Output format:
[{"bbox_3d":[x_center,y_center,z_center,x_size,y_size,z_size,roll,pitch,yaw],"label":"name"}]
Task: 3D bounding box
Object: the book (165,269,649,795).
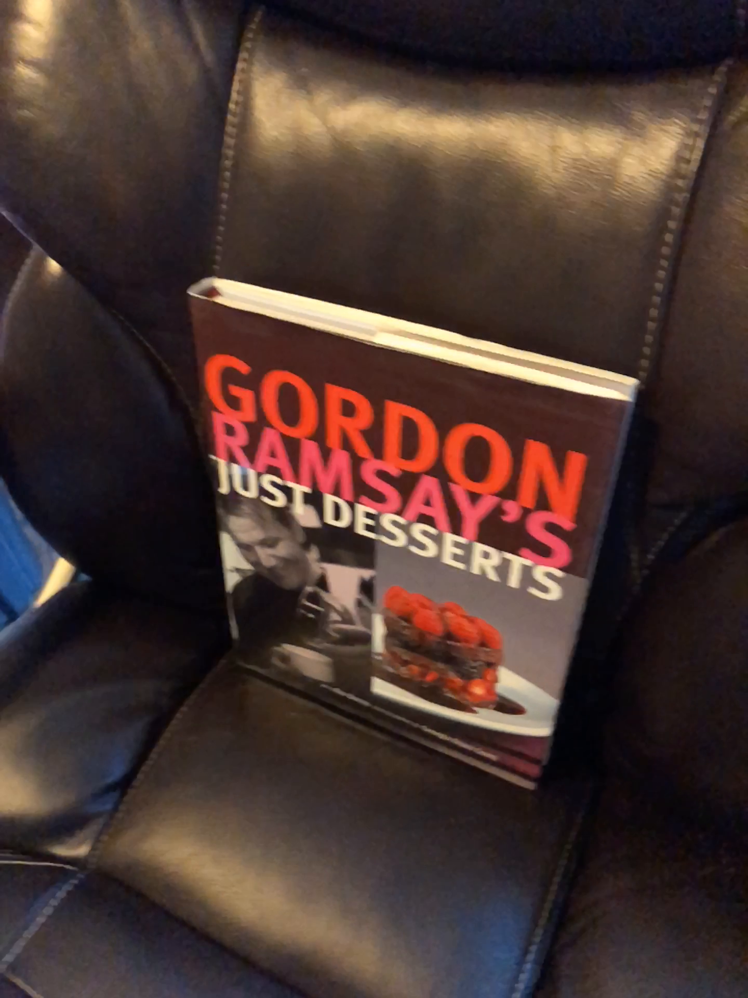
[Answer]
[{"bbox_3d":[0.009,0.033,0.476,0.230,0.293,0.030,18,45,21],"label":"book"}]
